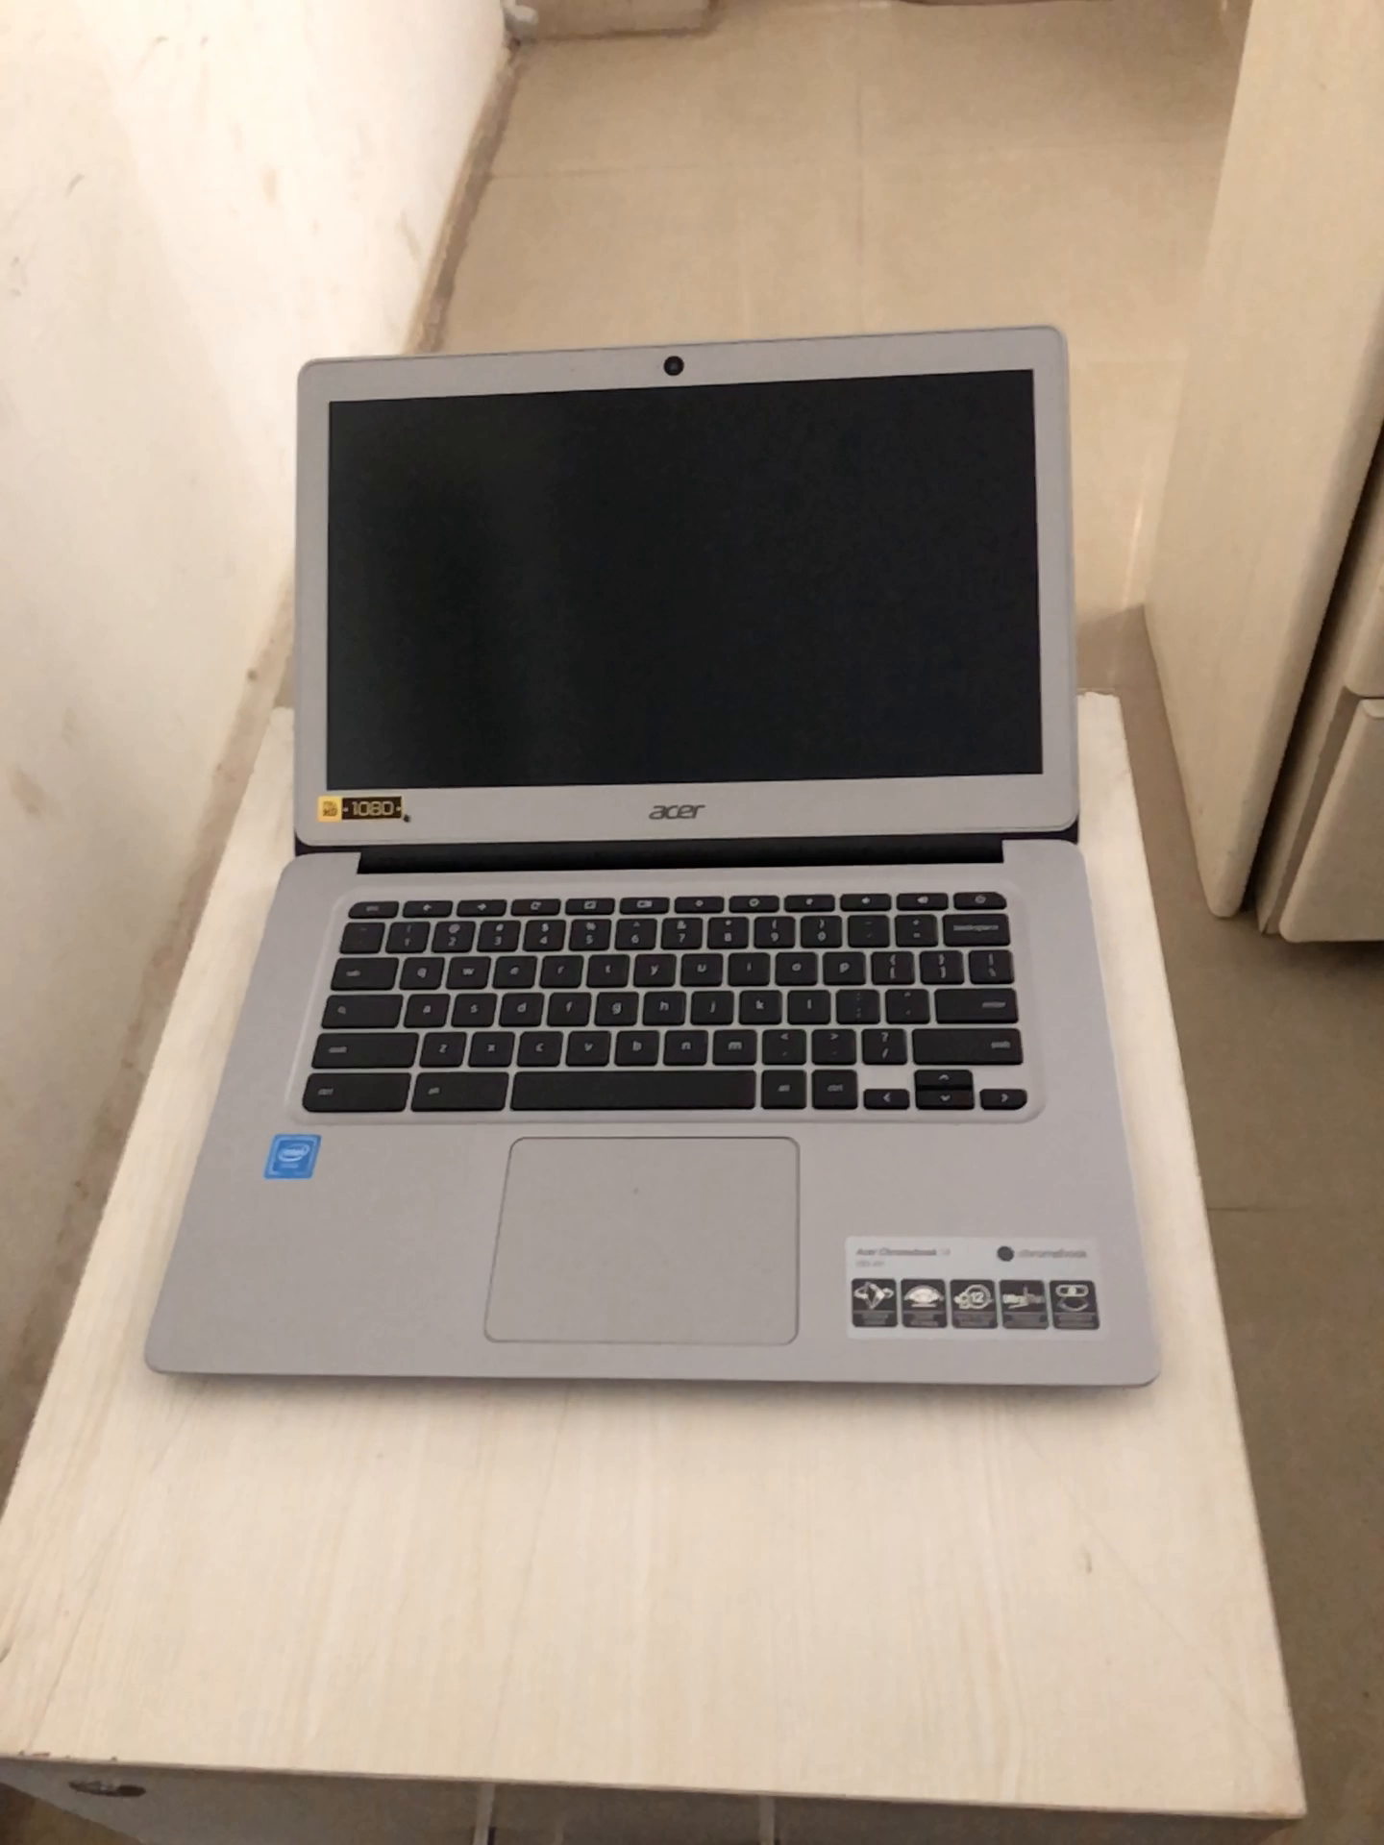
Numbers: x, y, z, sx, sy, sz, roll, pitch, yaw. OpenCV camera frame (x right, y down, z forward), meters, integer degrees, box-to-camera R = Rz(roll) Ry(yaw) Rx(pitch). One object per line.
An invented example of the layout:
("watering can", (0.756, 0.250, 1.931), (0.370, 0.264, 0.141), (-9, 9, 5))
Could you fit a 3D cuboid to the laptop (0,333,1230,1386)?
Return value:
("laptop", (-0.012, -0.049, 0.581), (0.332, 0.125, 0.410), (-1, 51, 5))
